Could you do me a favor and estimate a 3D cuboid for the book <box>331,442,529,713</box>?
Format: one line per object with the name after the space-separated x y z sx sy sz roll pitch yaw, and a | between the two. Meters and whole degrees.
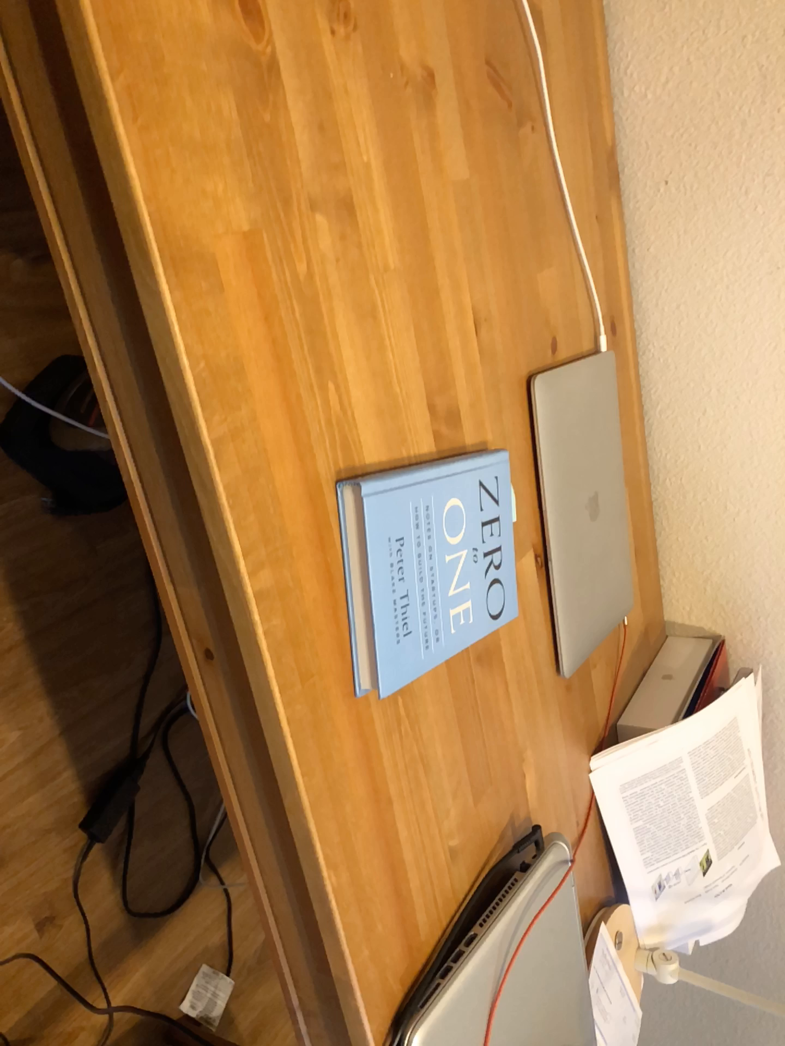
0.037 0.027 0.624 0.211 0.030 0.150 -17 105 -56 | book
